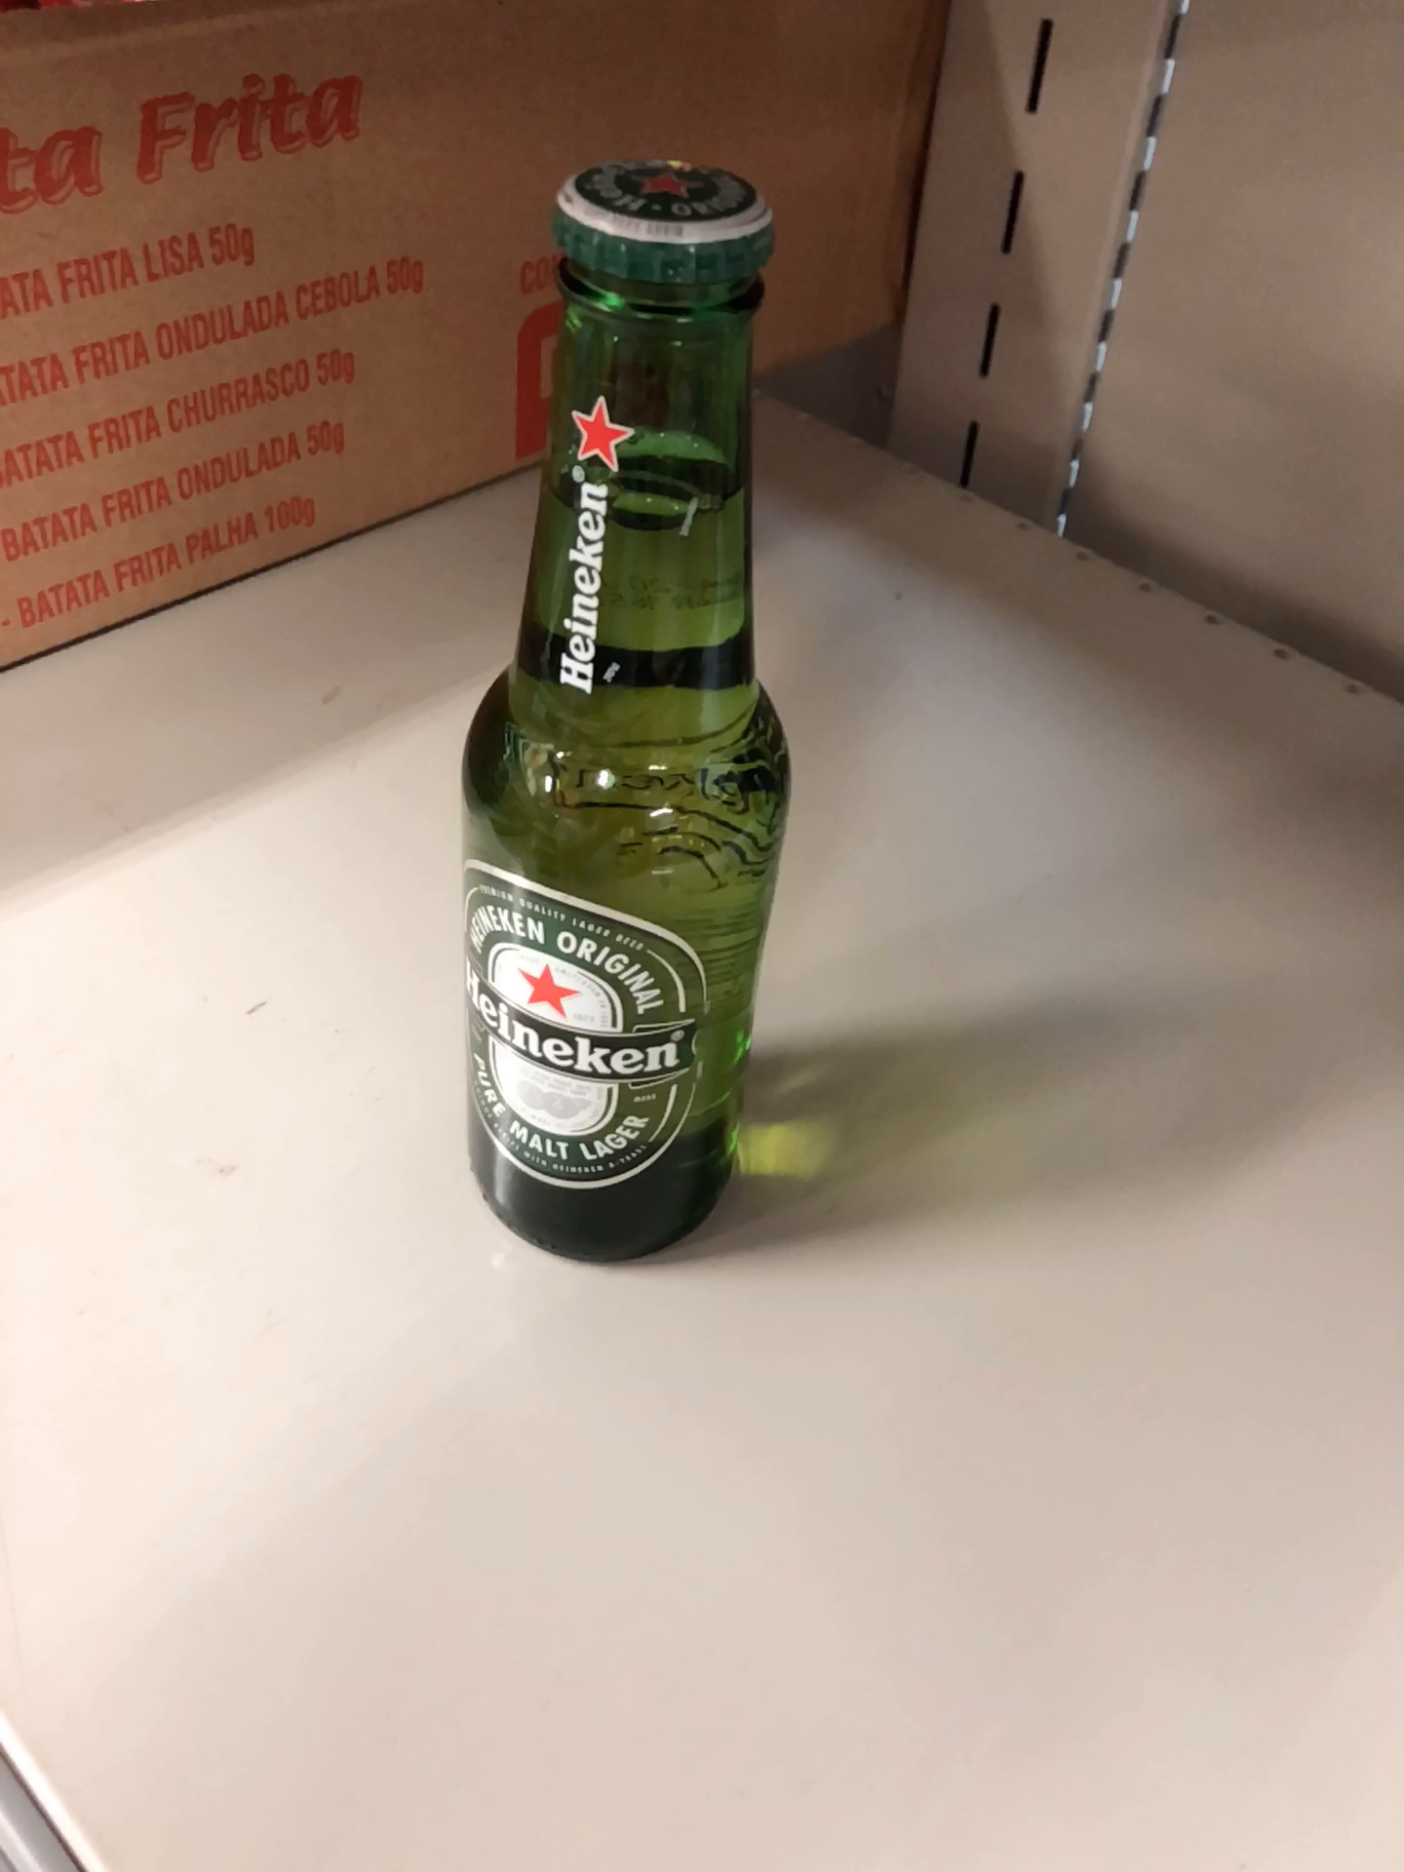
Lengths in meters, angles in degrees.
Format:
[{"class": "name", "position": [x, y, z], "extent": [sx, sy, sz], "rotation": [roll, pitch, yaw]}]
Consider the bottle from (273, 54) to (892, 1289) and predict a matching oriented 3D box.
[{"class": "bottle", "position": [-0.016, -0.027, 0.263], "extent": [0.060, 0.199, 0.060], "rotation": [2, 45, -2]}]
